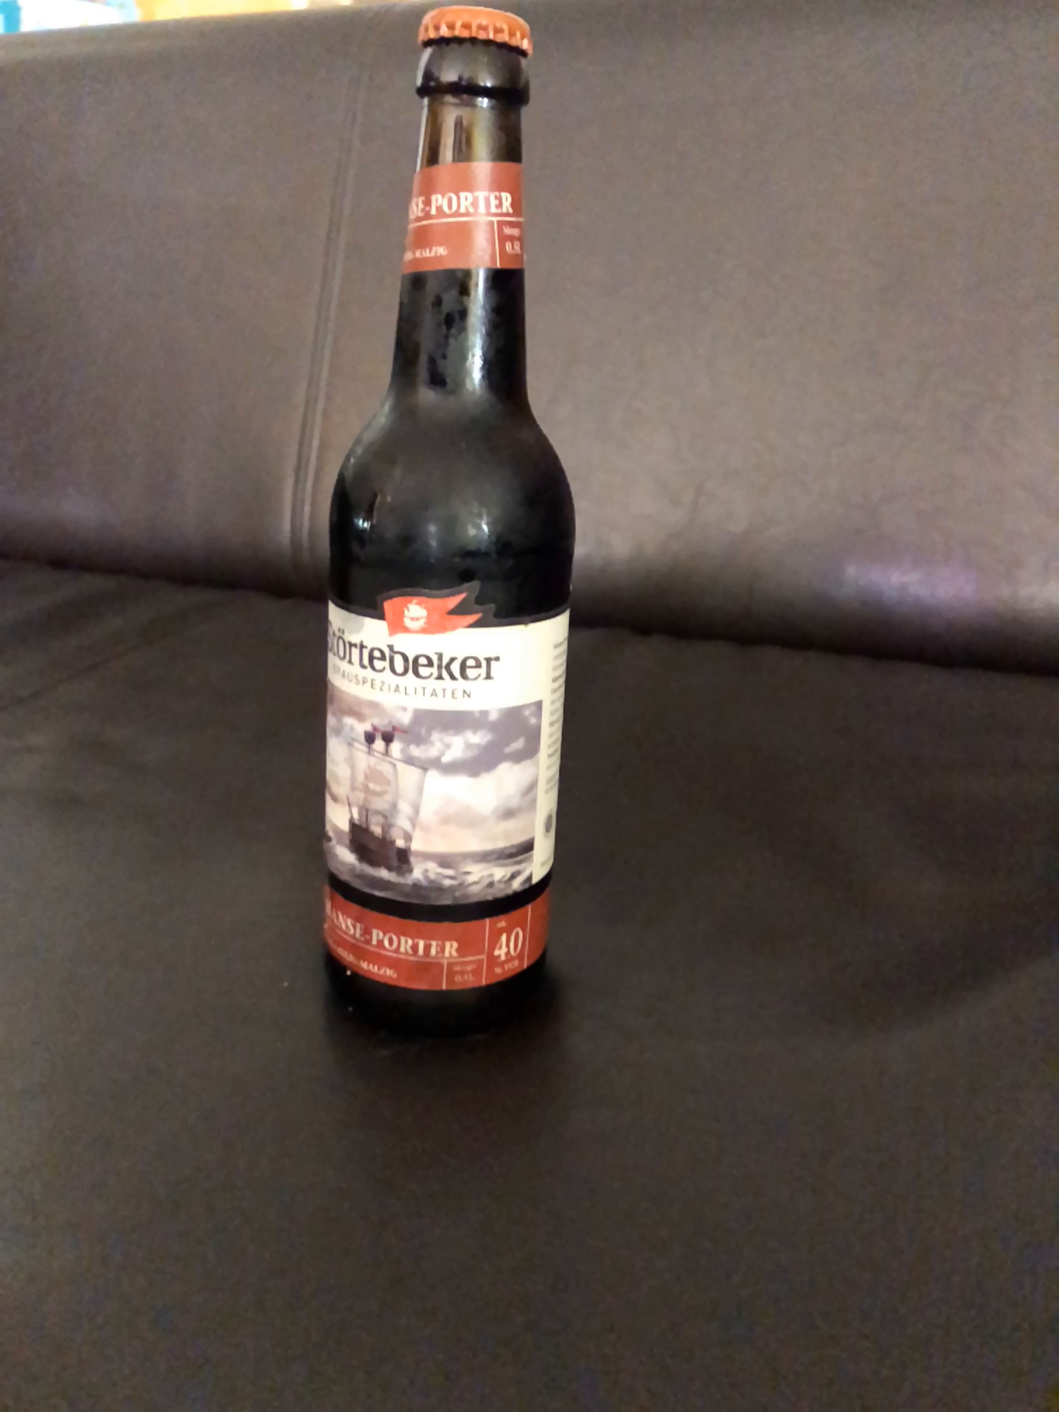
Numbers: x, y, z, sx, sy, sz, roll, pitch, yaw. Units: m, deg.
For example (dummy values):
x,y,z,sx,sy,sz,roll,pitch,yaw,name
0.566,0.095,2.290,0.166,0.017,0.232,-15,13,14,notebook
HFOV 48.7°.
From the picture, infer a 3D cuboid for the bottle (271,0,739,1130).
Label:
x,y,z,sx,sy,sz,roll,pitch,yaw,name
-0.009,-0.035,0.327,0.080,0.279,0.080,2,19,-1,bottle
